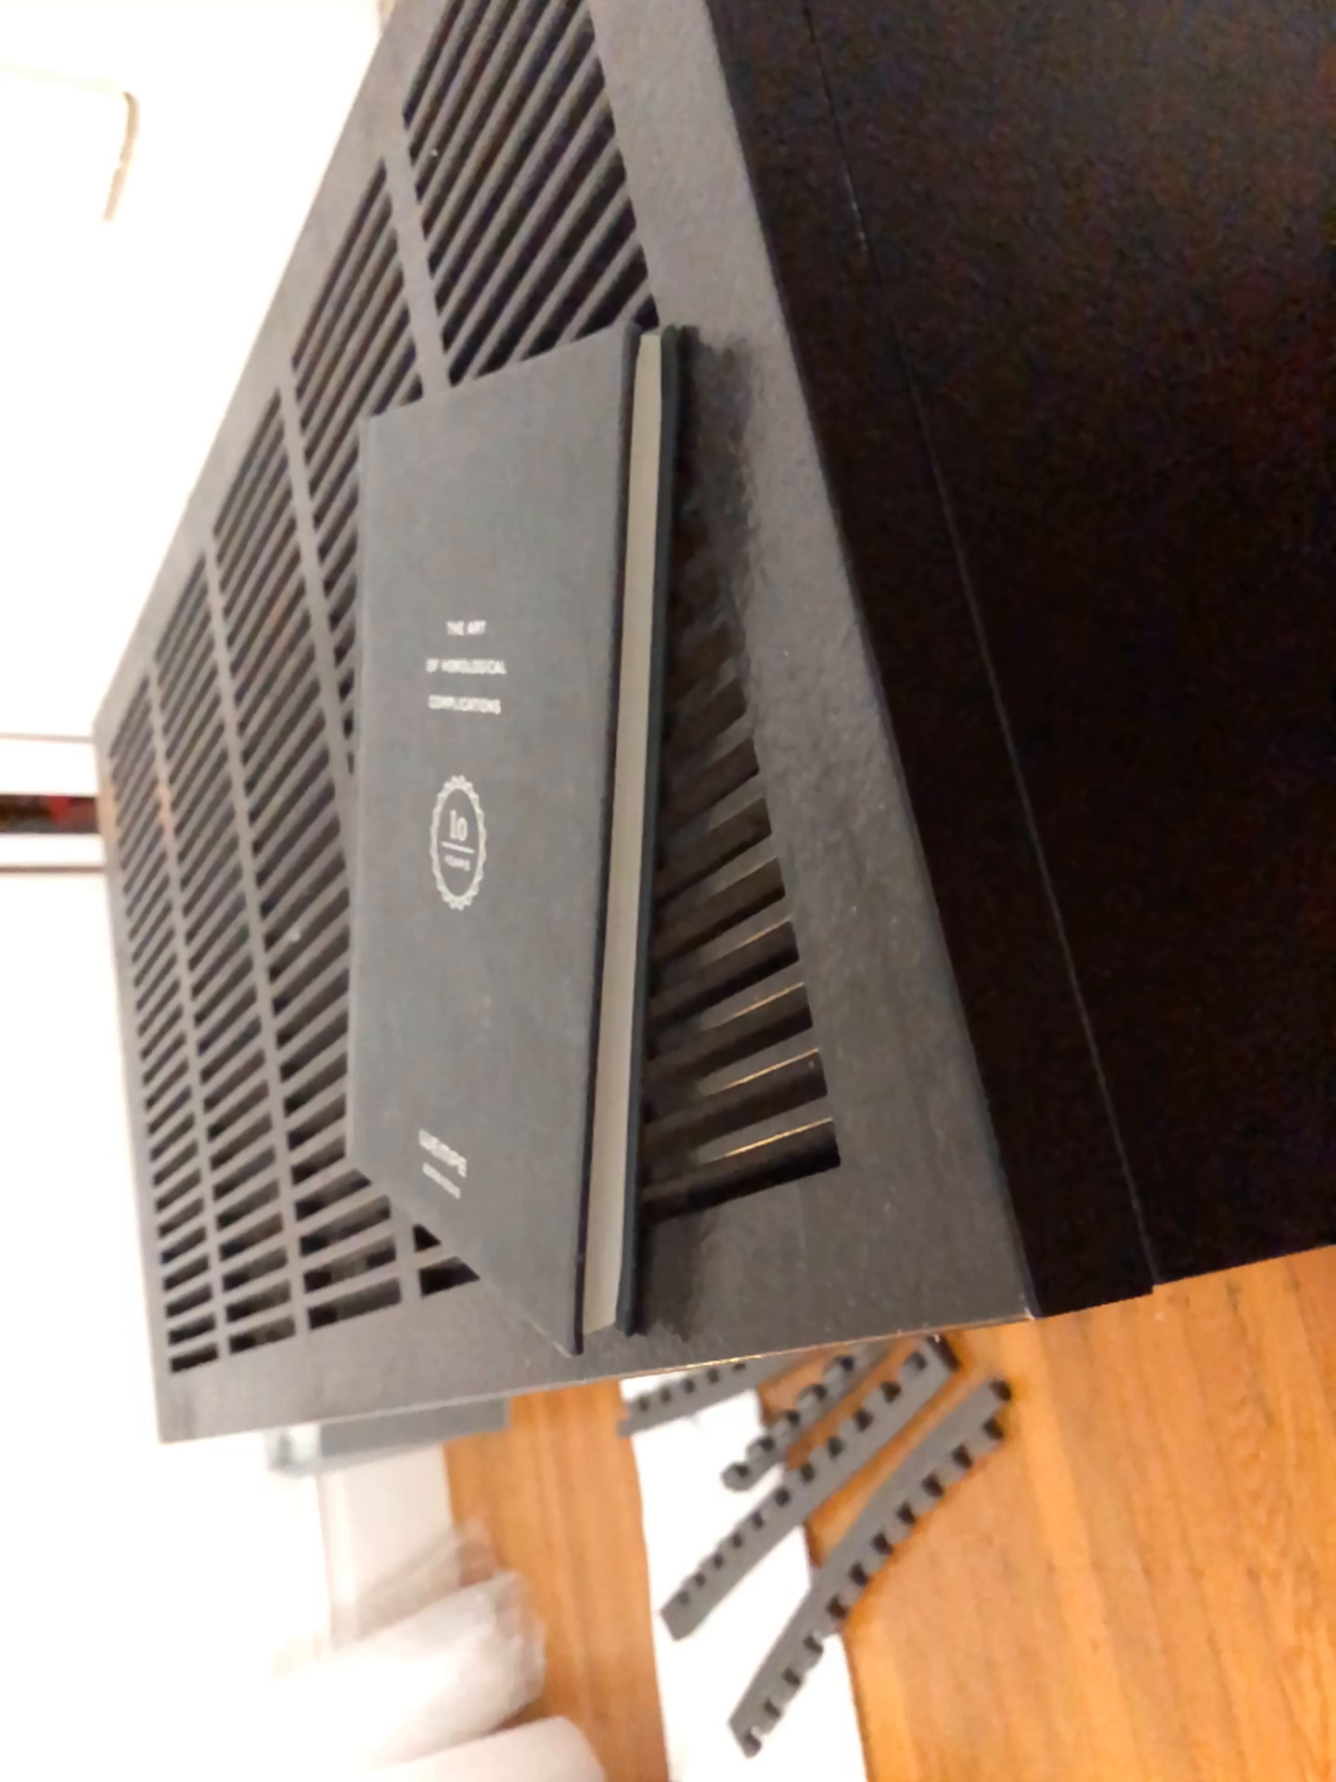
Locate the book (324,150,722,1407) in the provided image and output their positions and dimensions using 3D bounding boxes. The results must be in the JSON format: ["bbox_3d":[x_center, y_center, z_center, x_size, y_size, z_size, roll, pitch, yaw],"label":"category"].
[{"bbox_3d":[-0.046,-0.027,0.370,0.161,0.020,0.250,15,103,58],"label":"book"}]
